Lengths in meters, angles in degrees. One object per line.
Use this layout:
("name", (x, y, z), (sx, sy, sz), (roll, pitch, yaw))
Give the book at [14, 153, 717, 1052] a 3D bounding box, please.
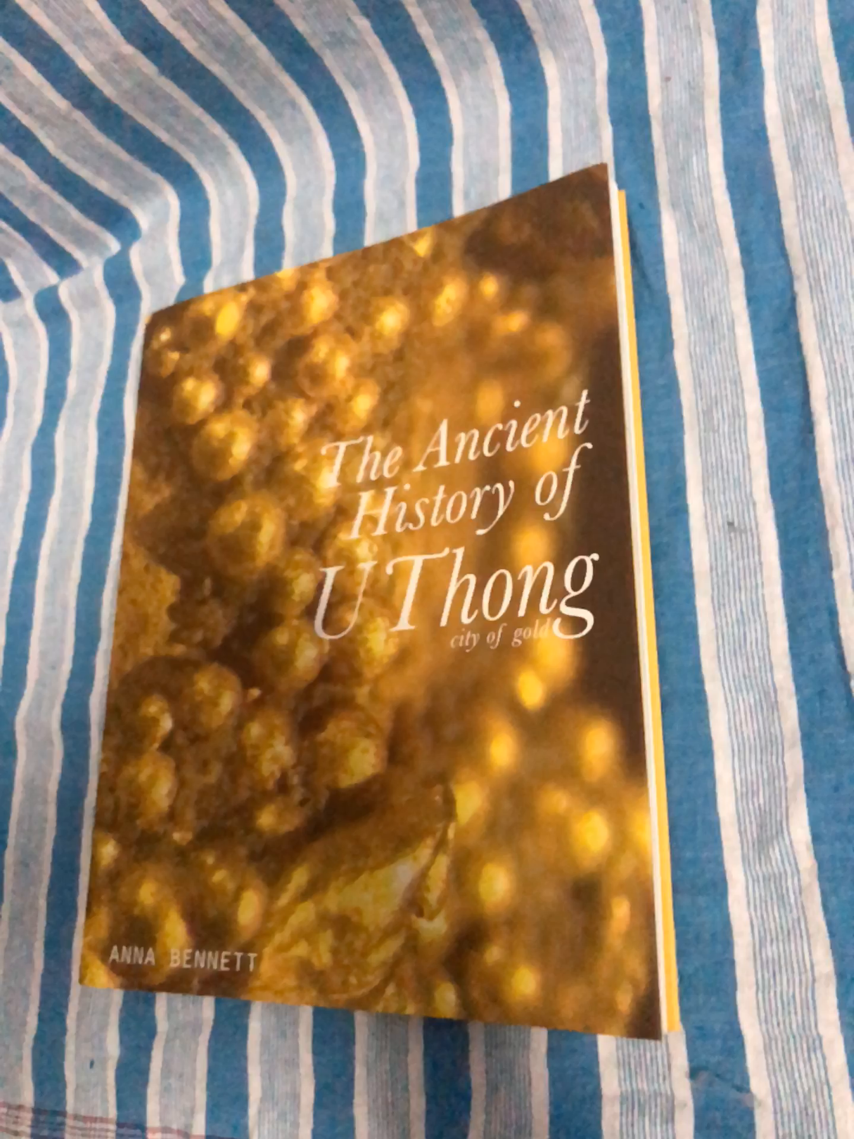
("book", (-0.030, 0.009, 0.315), (0.220, 0.030, 0.250), (-7, 72, 24))
